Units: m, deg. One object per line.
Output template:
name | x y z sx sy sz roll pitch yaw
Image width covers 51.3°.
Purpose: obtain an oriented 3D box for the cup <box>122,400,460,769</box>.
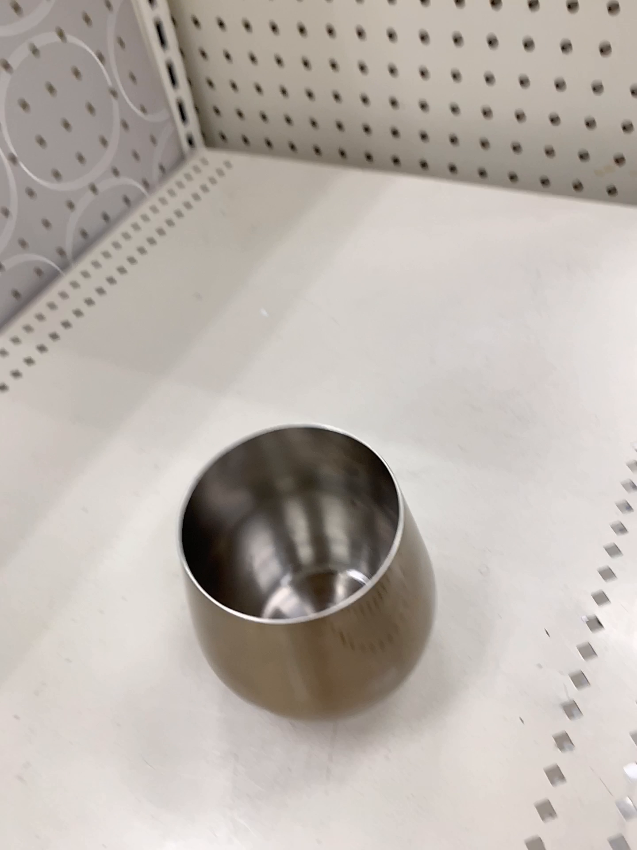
cup | -0.001 0.059 0.248 0.083 0.090 0.082 -4 50 5
